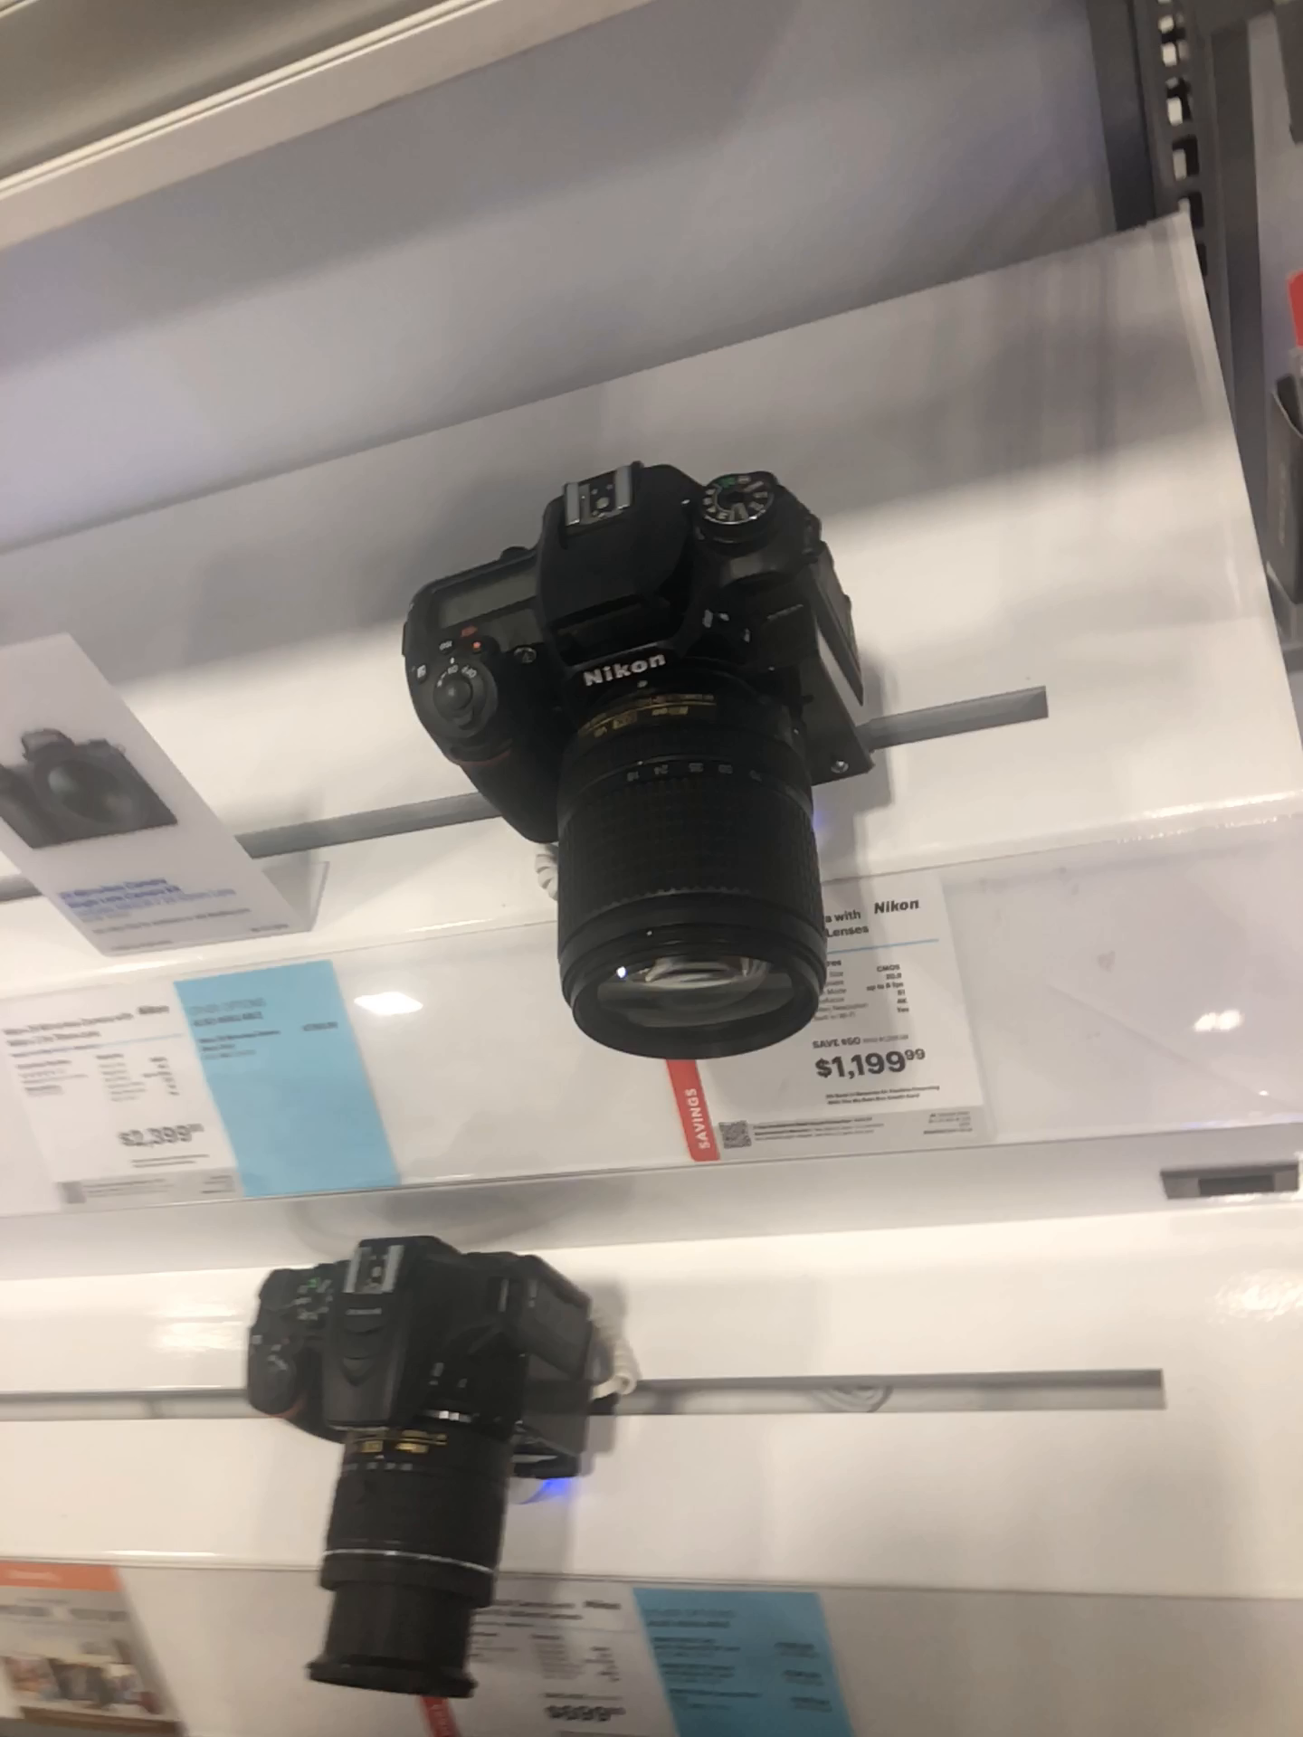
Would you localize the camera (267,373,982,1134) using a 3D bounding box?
[{"bbox_3d":[-0.003,-0.028,0.426,0.160,0.110,0.160,-12,54,18],"label":"camera"}]
